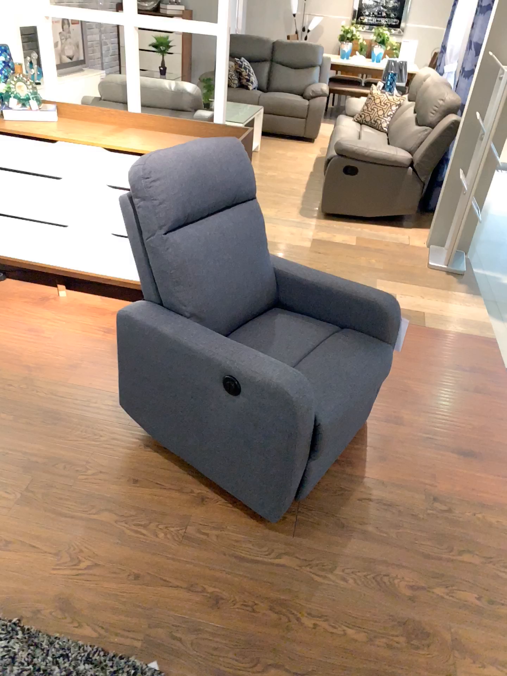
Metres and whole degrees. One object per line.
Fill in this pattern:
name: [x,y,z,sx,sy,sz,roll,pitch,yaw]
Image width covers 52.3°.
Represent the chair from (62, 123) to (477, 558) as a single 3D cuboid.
chair: [0.062,-0.101,1.810,0.881,0.966,0.933,24,38,26]
